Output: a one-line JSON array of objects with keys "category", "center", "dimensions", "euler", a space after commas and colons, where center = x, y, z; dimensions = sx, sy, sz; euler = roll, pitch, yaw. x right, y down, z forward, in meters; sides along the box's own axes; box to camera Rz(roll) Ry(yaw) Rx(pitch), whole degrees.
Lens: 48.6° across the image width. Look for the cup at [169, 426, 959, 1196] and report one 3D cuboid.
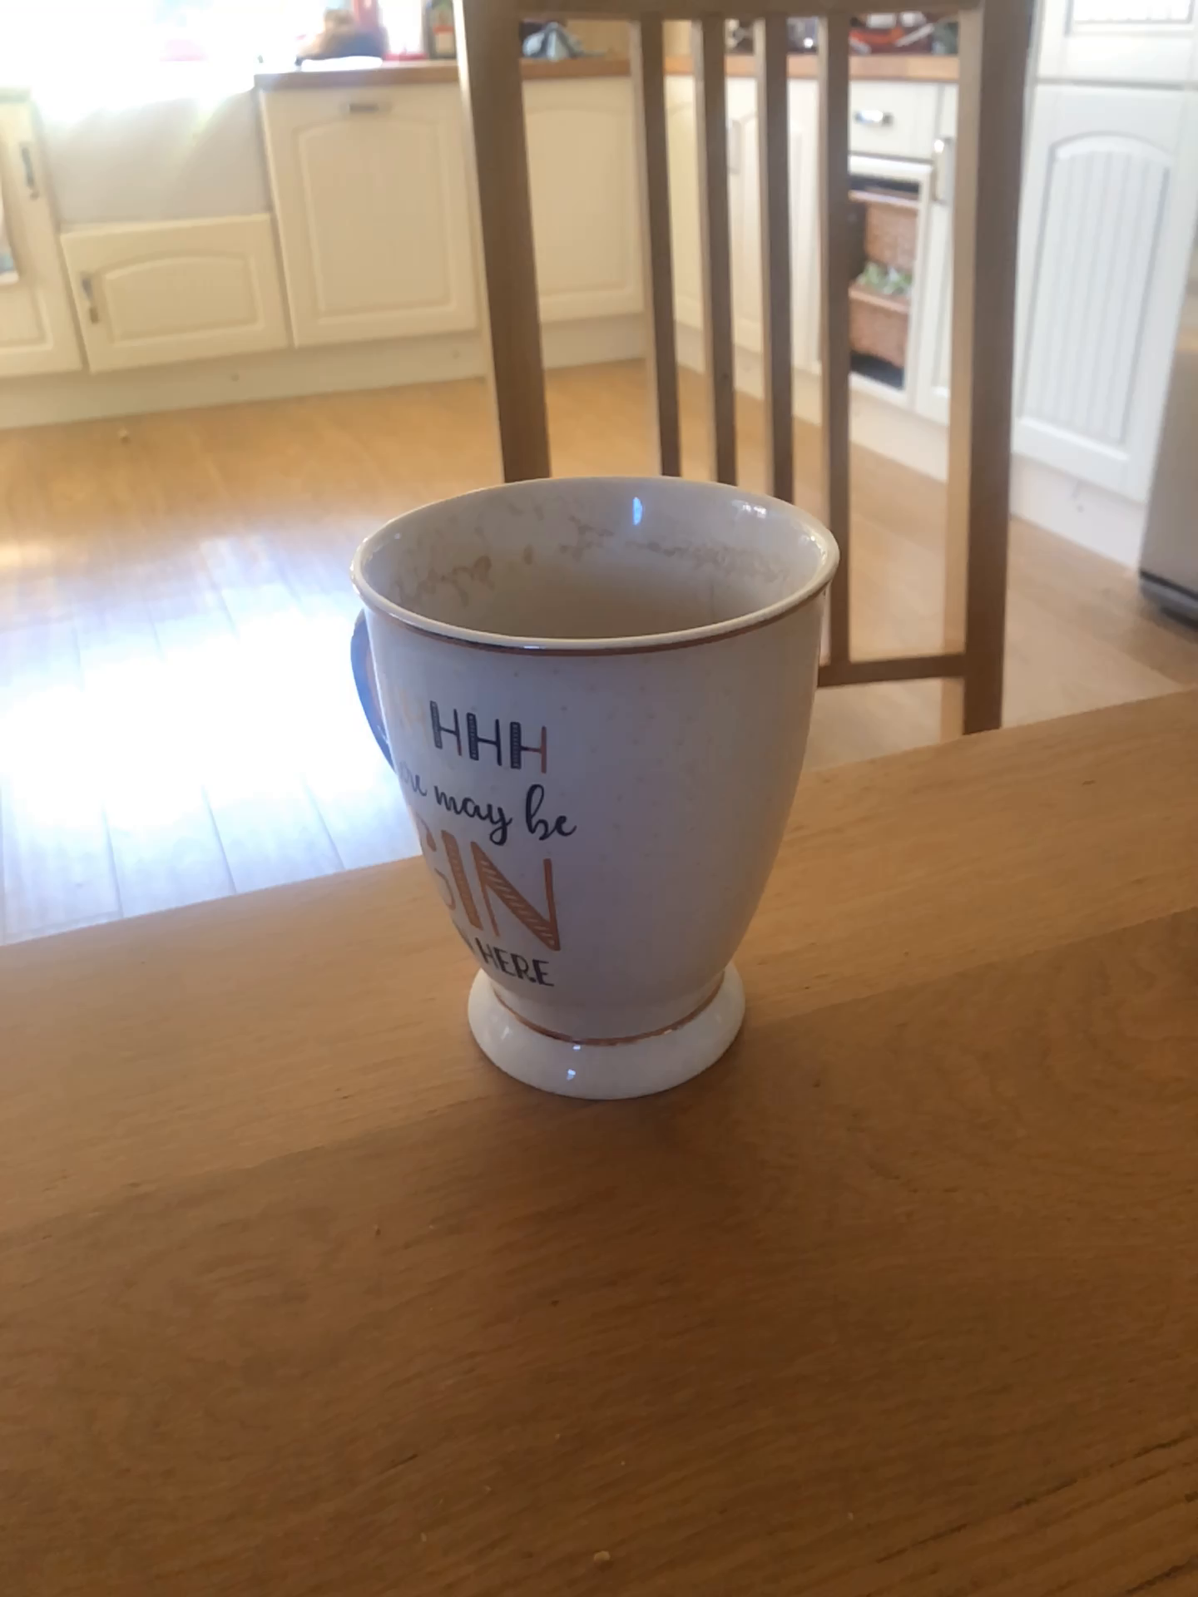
[{"category": "cup", "center": [-0.008, -0.011, 0.315], "dimensions": [0.135, 0.111, 0.109], "euler": [24, 39, 38]}]
